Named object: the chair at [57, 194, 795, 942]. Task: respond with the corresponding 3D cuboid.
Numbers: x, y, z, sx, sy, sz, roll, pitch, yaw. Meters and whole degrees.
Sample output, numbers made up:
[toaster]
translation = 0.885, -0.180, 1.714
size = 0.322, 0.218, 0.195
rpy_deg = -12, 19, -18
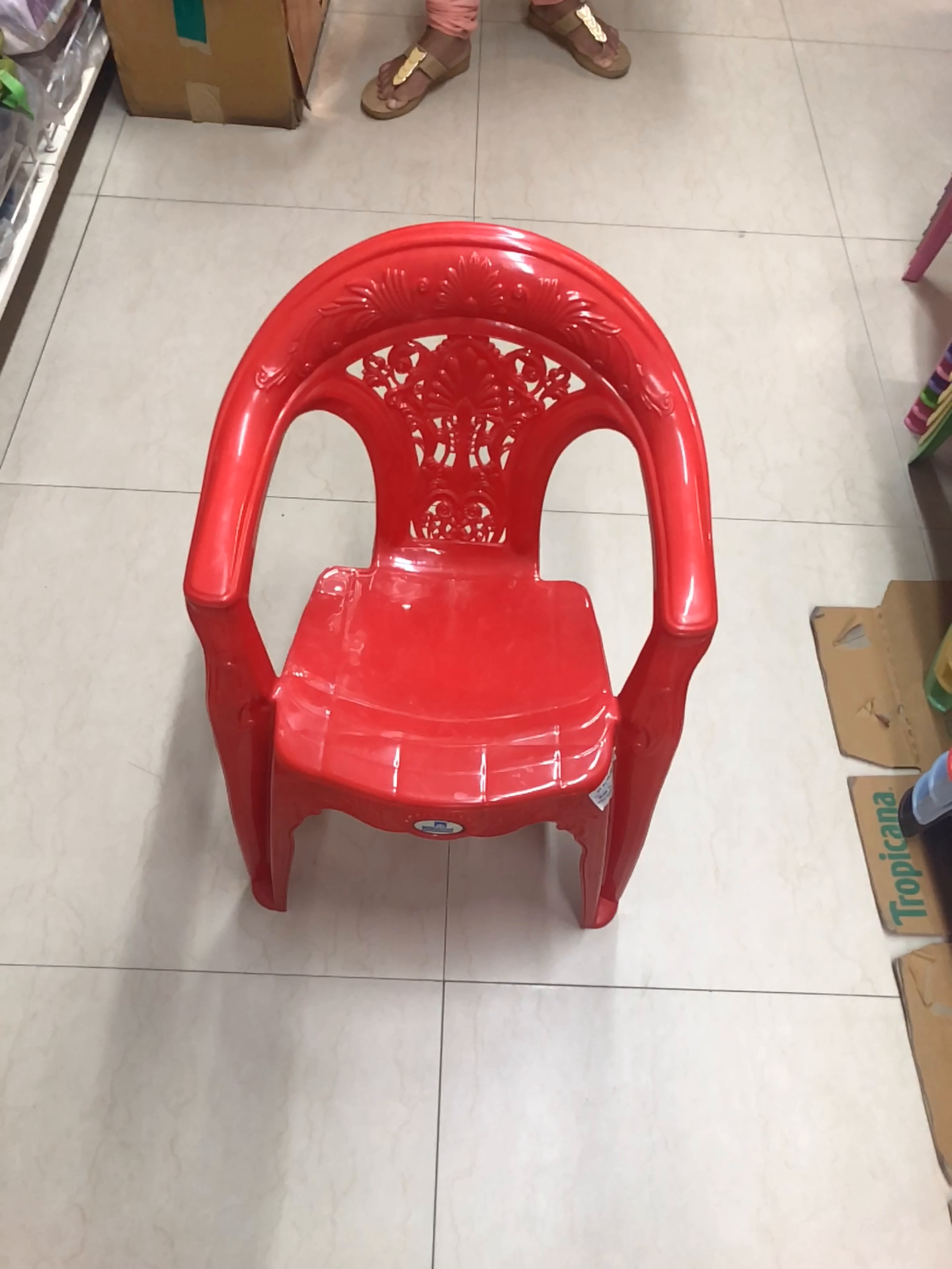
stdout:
[chair]
translation = -0.028, -0.014, 0.865
size = 0.390, 0.508, 0.372
rpy_deg = 3, 57, -1
